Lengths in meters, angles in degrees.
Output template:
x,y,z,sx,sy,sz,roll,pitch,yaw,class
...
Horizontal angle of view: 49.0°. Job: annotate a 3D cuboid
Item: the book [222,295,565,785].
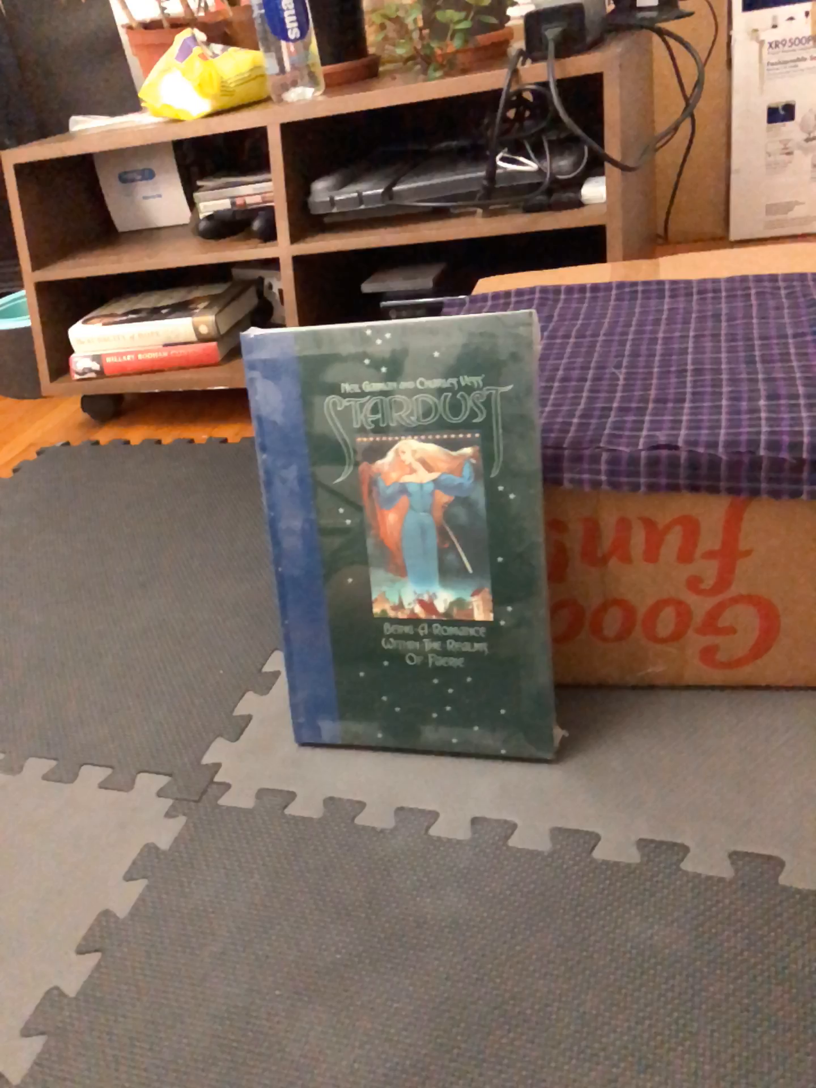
x,y,z,sx,sy,sz,roll,pitch,yaw,class
-0.007,0.007,0.625,0.210,0.329,0.020,-1,15,19,book
